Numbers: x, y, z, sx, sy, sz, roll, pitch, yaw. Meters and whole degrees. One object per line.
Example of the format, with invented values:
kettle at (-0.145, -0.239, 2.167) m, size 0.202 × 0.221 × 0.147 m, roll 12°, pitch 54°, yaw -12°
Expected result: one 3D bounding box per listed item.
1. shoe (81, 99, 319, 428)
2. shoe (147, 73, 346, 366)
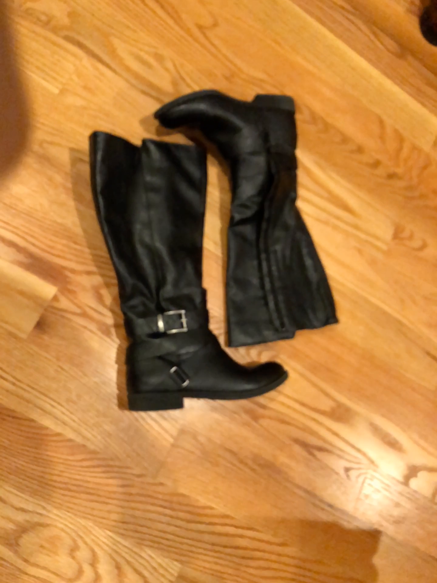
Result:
shoe at (-0.032, -0.038, 0.687) m, size 0.291 × 0.104 × 0.403 m, roll -1°, pitch 82°, yaw -20°
shoe at (0.035, -0.096, 0.721) m, size 0.250 × 0.094 × 0.393 m, roll 0°, pitch 81°, yaw -20°
